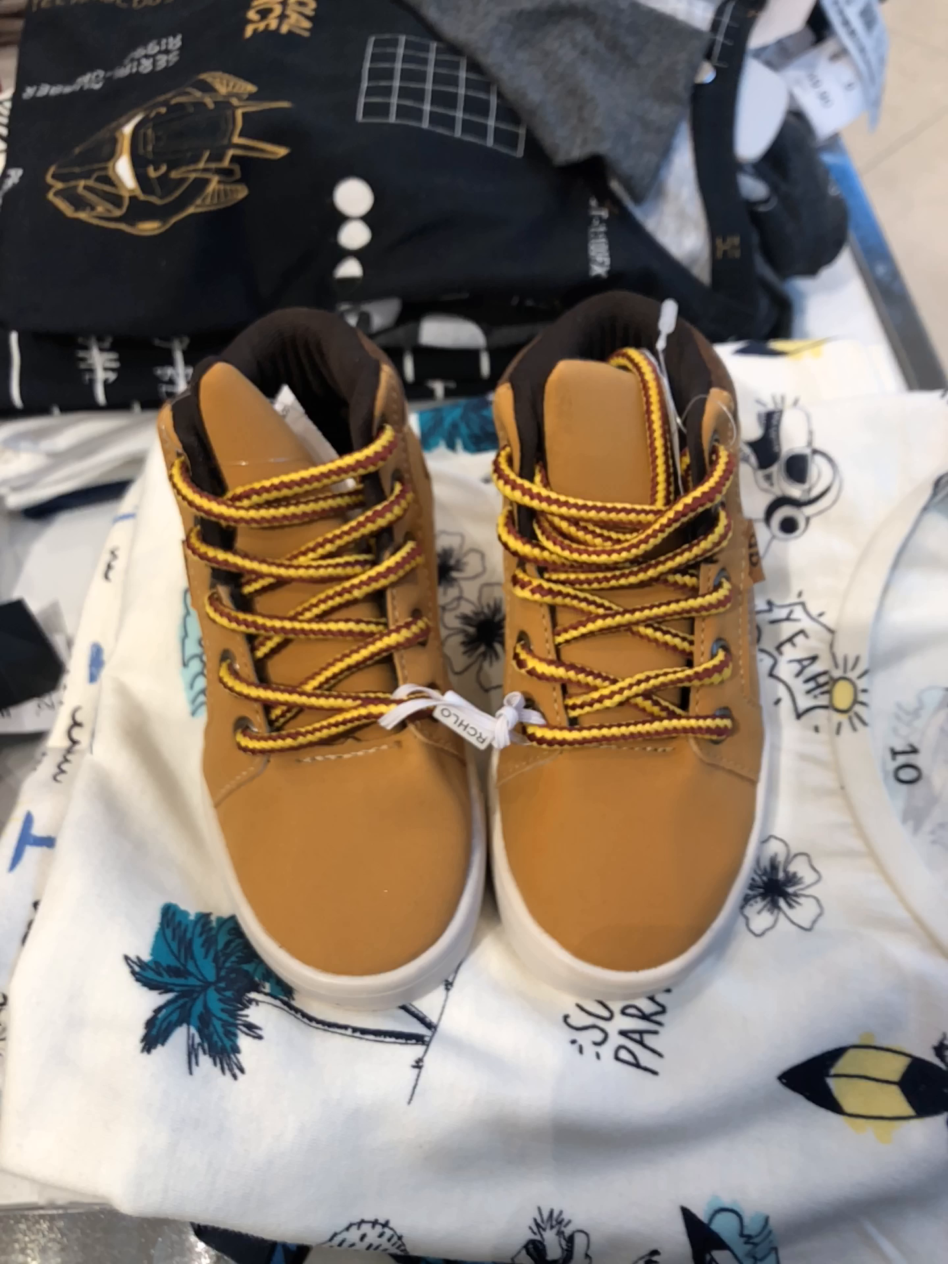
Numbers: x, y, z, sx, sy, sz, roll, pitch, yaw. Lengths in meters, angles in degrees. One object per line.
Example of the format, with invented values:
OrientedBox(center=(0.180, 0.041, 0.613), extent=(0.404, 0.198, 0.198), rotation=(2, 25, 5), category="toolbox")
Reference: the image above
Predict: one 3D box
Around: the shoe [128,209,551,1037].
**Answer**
OrientedBox(center=(-0.030, -0.003, 0.256), extent=(0.070, 0.090, 0.171), rotation=(-7, 61, -1), category="shoe")

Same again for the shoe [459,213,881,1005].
OrientedBox(center=(0.039, -0.008, 0.260), extent=(0.070, 0.090, 0.171), rotation=(1, 59, 4), category="shoe")
